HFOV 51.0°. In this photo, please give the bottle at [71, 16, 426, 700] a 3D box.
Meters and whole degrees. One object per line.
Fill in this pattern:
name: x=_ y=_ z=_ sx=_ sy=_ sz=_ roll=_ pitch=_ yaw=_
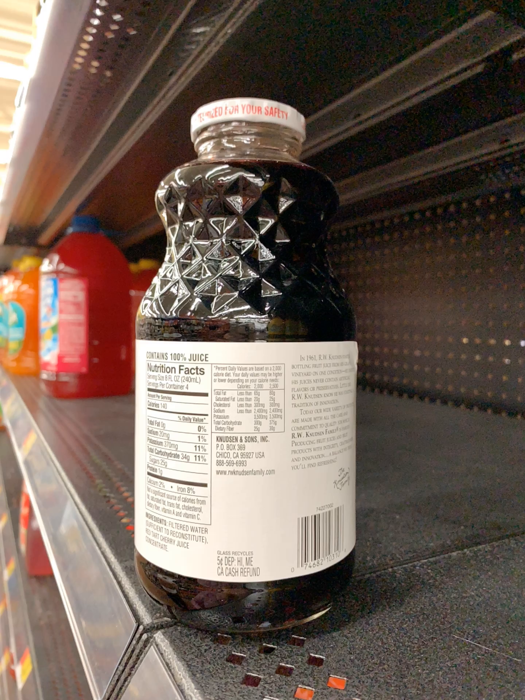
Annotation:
bottle: x=-0.009 y=0.002 z=0.232 sx=0.100 sy=0.200 sz=0.110 roll=-2 pitch=4 yaw=-40
